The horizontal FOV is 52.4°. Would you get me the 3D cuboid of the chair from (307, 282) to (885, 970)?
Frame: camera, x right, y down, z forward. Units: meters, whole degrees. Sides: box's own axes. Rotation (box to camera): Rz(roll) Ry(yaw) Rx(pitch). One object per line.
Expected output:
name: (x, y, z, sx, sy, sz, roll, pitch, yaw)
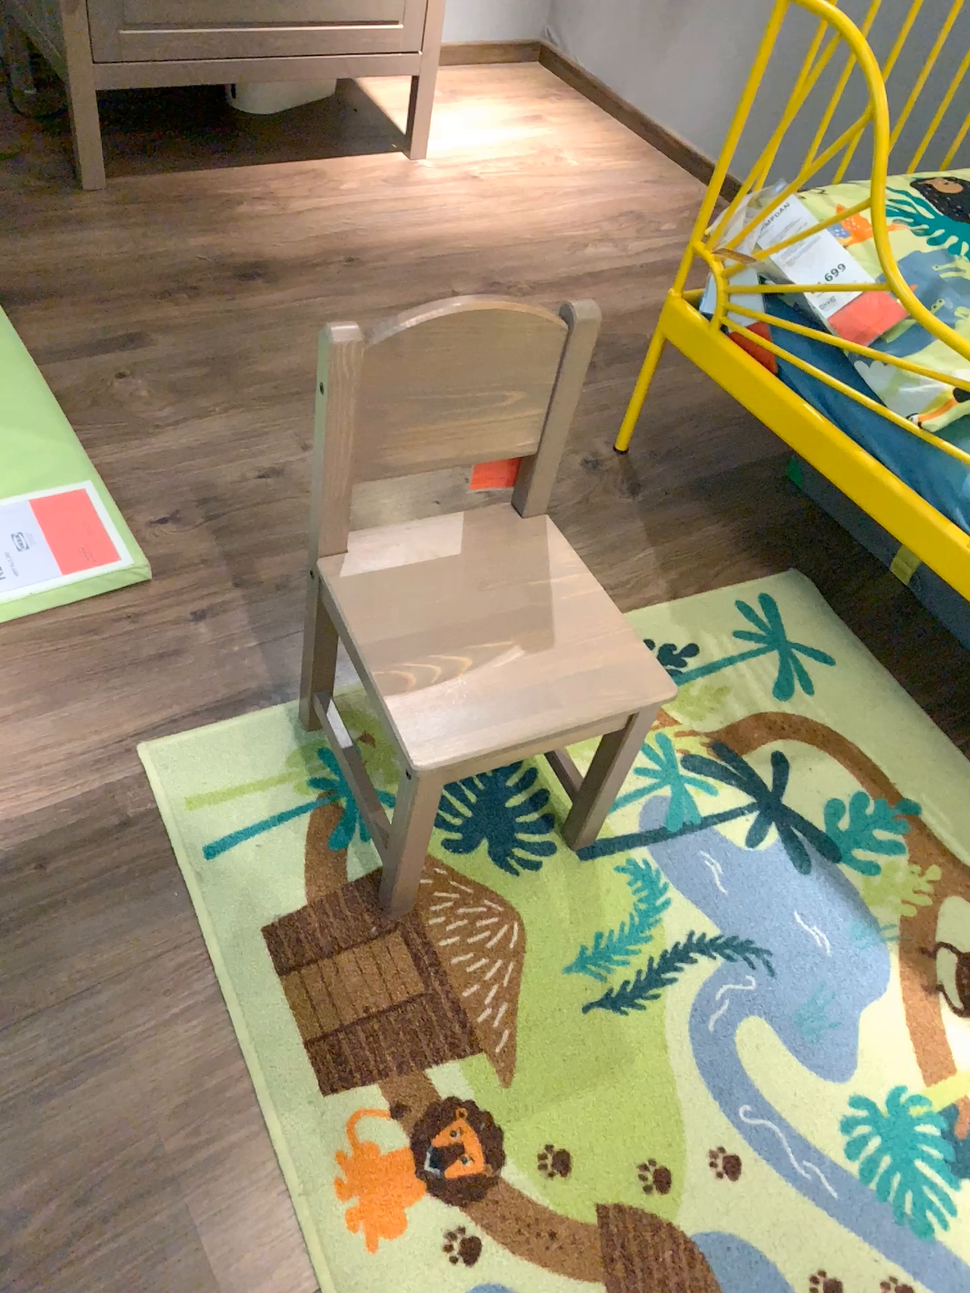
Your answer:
chair: (0.038, -0.008, 0.894, 0.290, 0.488, 0.331, -14, 53, -23)
